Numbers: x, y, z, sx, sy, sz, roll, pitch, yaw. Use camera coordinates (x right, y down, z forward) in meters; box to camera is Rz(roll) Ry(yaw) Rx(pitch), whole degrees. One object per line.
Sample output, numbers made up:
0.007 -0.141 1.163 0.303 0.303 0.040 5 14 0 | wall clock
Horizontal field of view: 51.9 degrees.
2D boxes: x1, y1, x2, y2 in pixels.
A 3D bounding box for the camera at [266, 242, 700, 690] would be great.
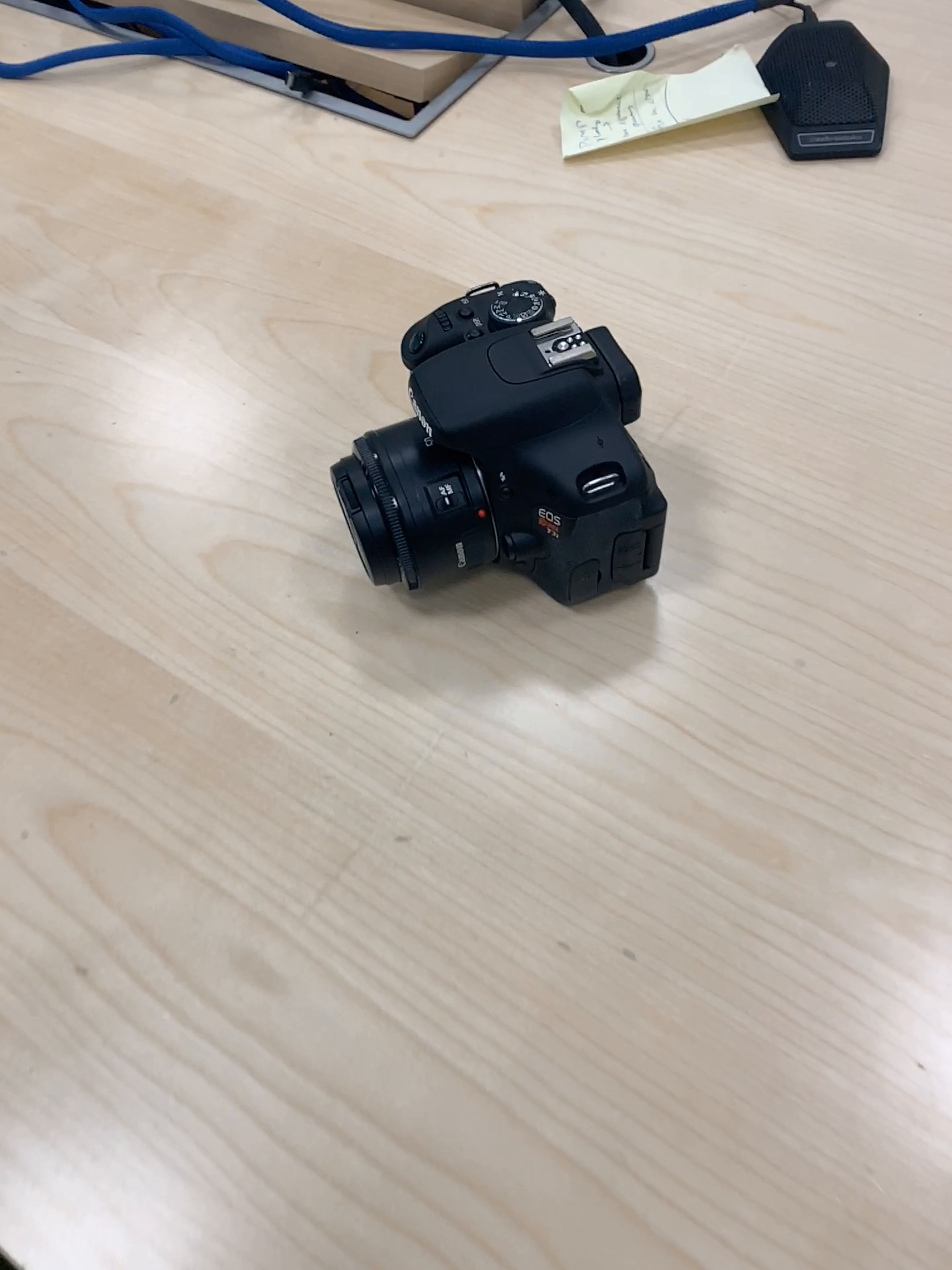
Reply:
0.001 -0.073 0.414 0.127 0.085 0.130 -22 59 -8 | camera
